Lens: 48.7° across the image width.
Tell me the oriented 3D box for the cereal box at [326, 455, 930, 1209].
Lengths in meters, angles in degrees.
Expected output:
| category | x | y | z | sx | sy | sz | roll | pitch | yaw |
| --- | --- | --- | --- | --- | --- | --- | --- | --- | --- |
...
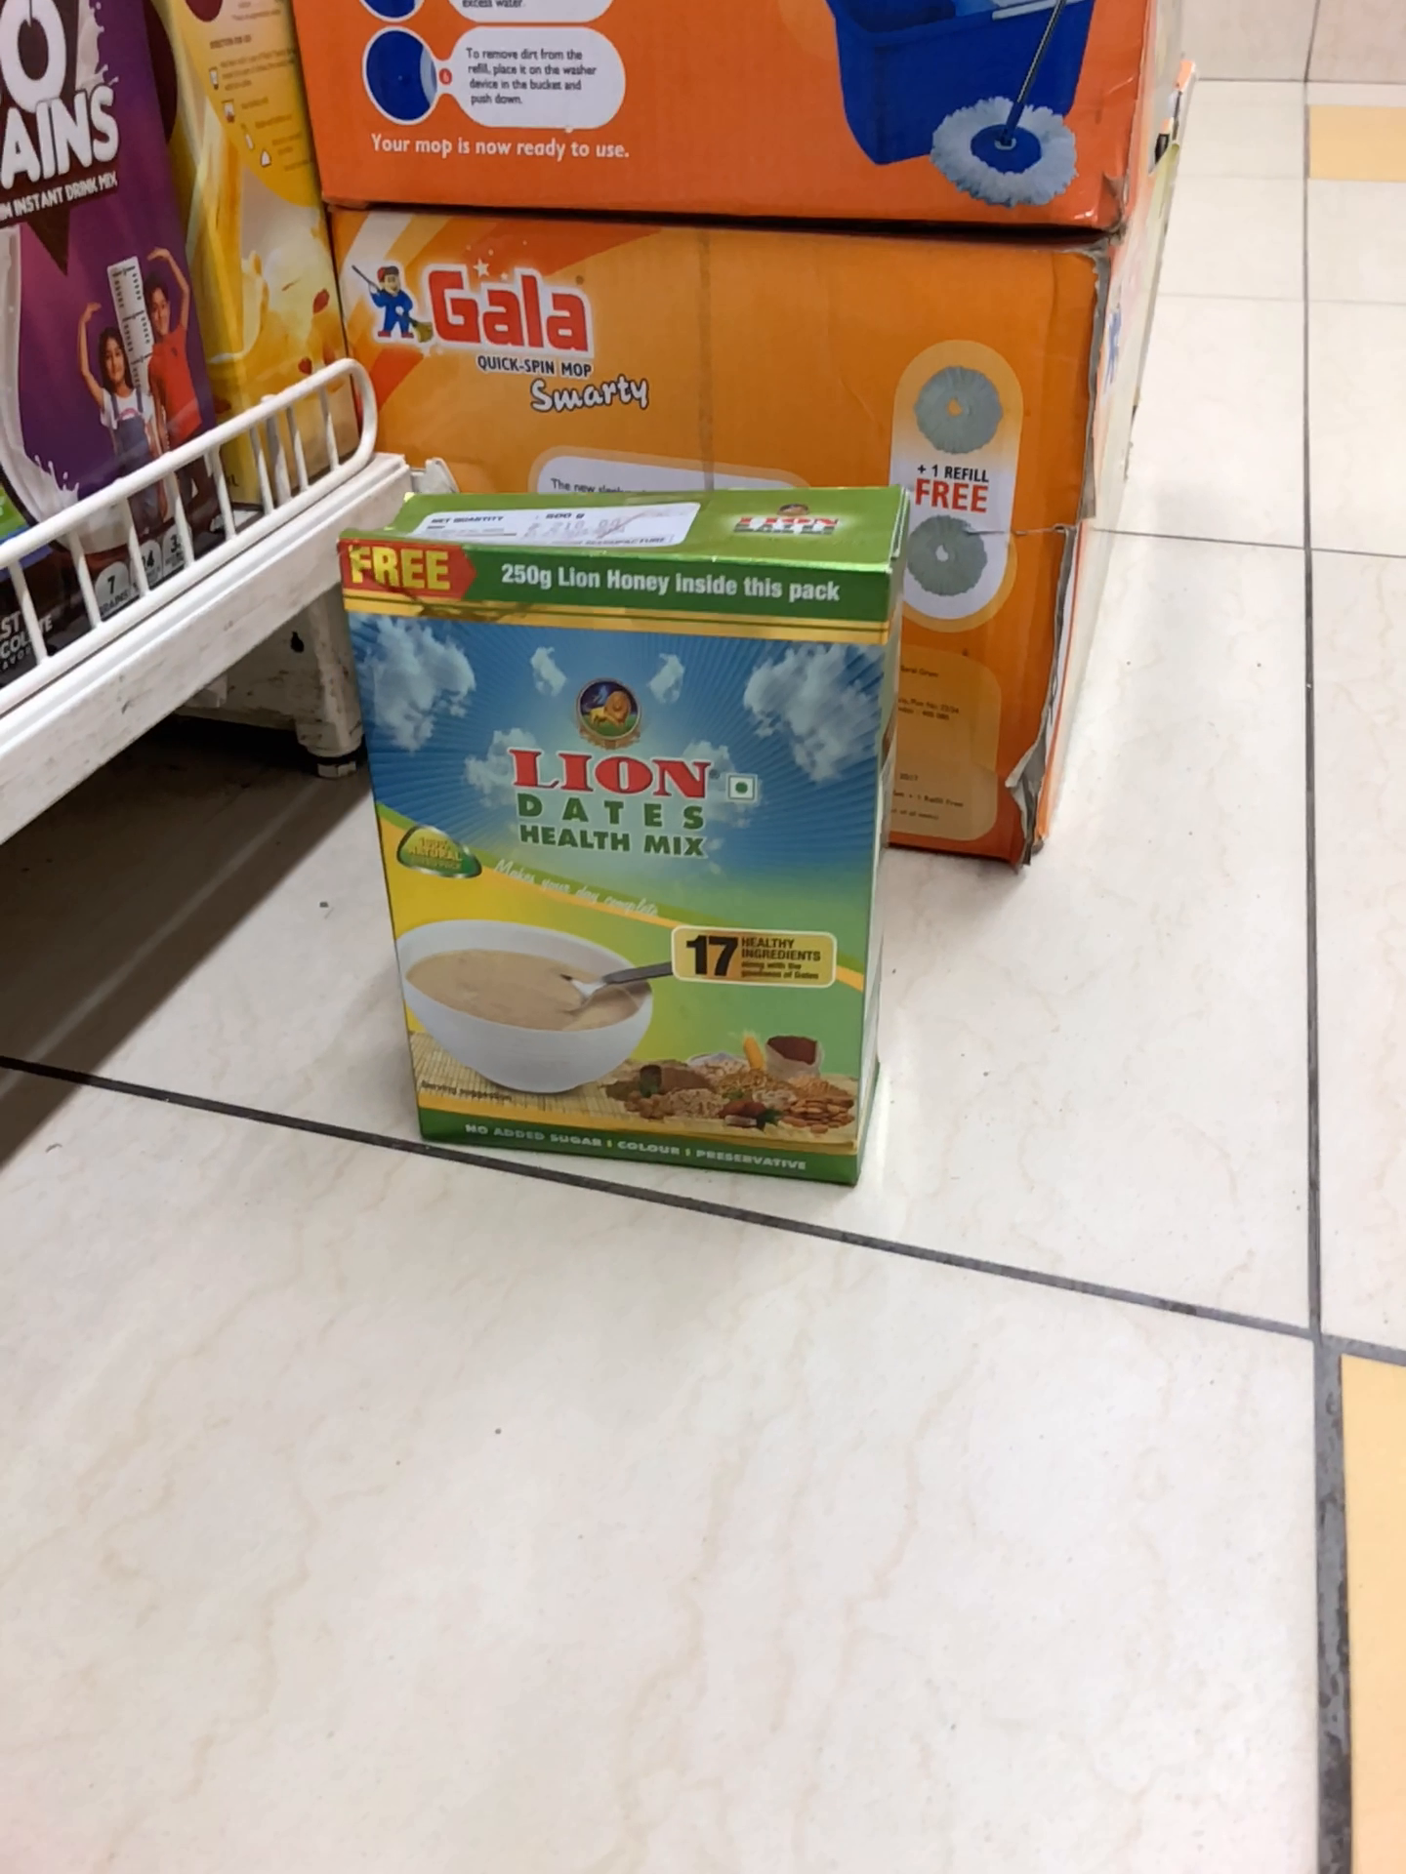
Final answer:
| category | x | y | z | sx | sy | sz | roll | pitch | yaw |
| --- | --- | --- | --- | --- | --- | --- | --- | --- | --- |
| cereal box | -0.016 | -0.027 | 0.502 | 0.160 | 0.228 | 0.070 | 4 | 35 | 7 |
